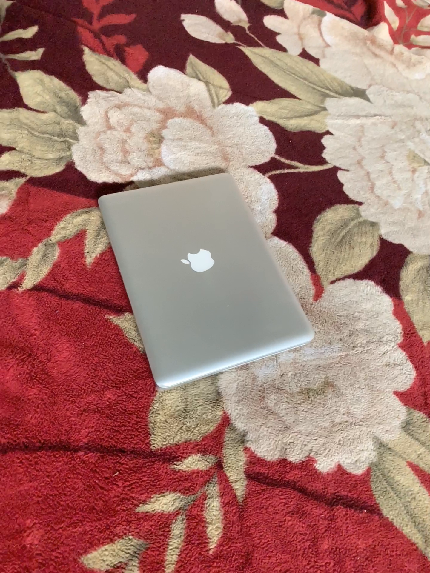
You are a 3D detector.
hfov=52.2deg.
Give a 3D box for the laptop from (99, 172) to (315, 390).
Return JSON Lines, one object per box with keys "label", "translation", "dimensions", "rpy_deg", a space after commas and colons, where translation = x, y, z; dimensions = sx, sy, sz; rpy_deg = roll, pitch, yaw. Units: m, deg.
{"label": "laptop", "translation": [-0.022, -0.032, 0.618], "dimensions": [0.209, 0.001, 0.310], "rpy_deg": [-16, 62, -15]}
